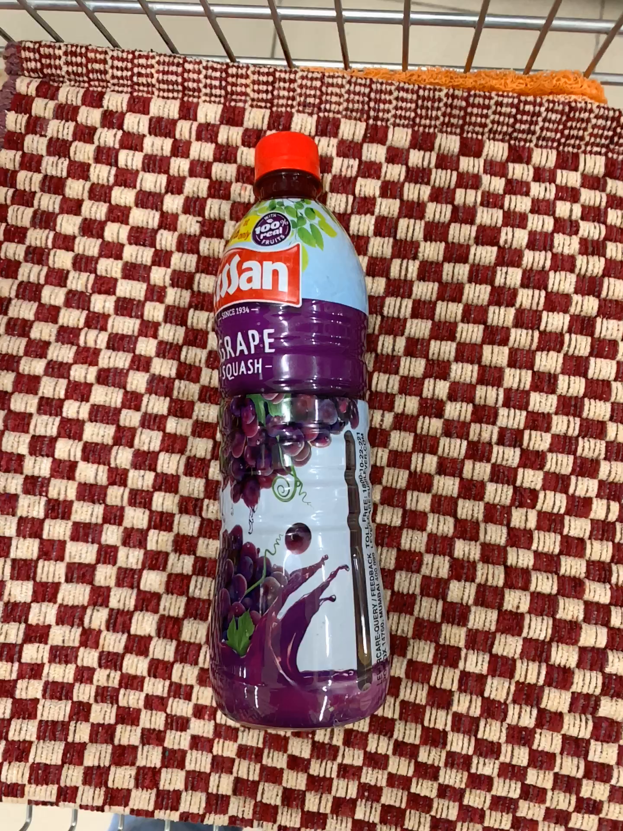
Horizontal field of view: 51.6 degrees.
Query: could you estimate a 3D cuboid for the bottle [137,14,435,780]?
[{"bbox_3d":[-0.010,-0.007,0.256,0.080,0.080,0.240,6,82,-45],"label":"bottle"}]
